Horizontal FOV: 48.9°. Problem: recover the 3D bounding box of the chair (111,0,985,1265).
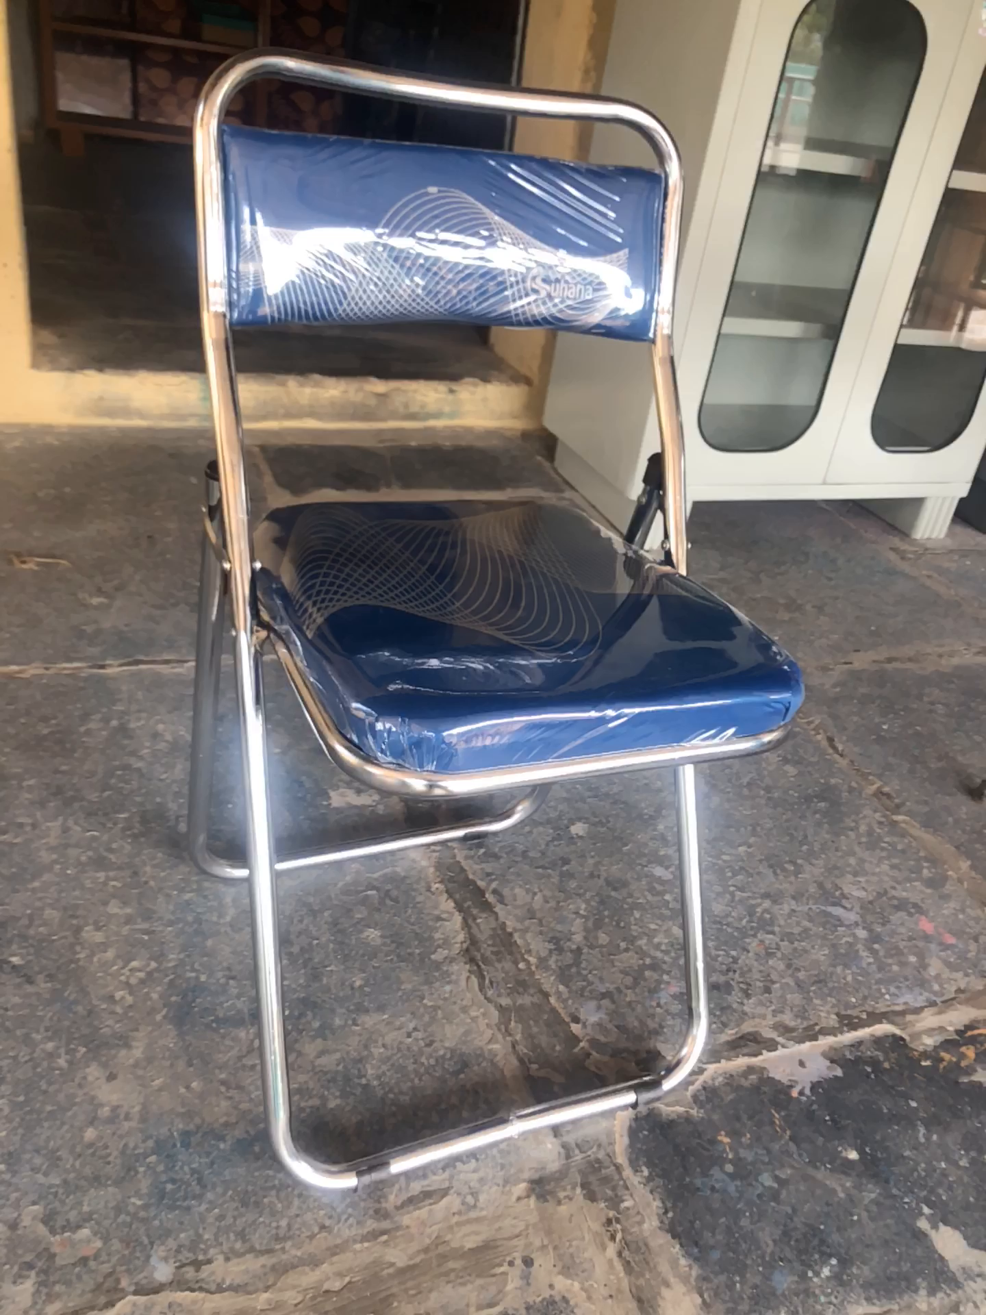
[{"bbox_3d":[-0.010,-0.048,0.918,0.501,0.806,0.511,-6,32,-25],"label":"chair"}]
